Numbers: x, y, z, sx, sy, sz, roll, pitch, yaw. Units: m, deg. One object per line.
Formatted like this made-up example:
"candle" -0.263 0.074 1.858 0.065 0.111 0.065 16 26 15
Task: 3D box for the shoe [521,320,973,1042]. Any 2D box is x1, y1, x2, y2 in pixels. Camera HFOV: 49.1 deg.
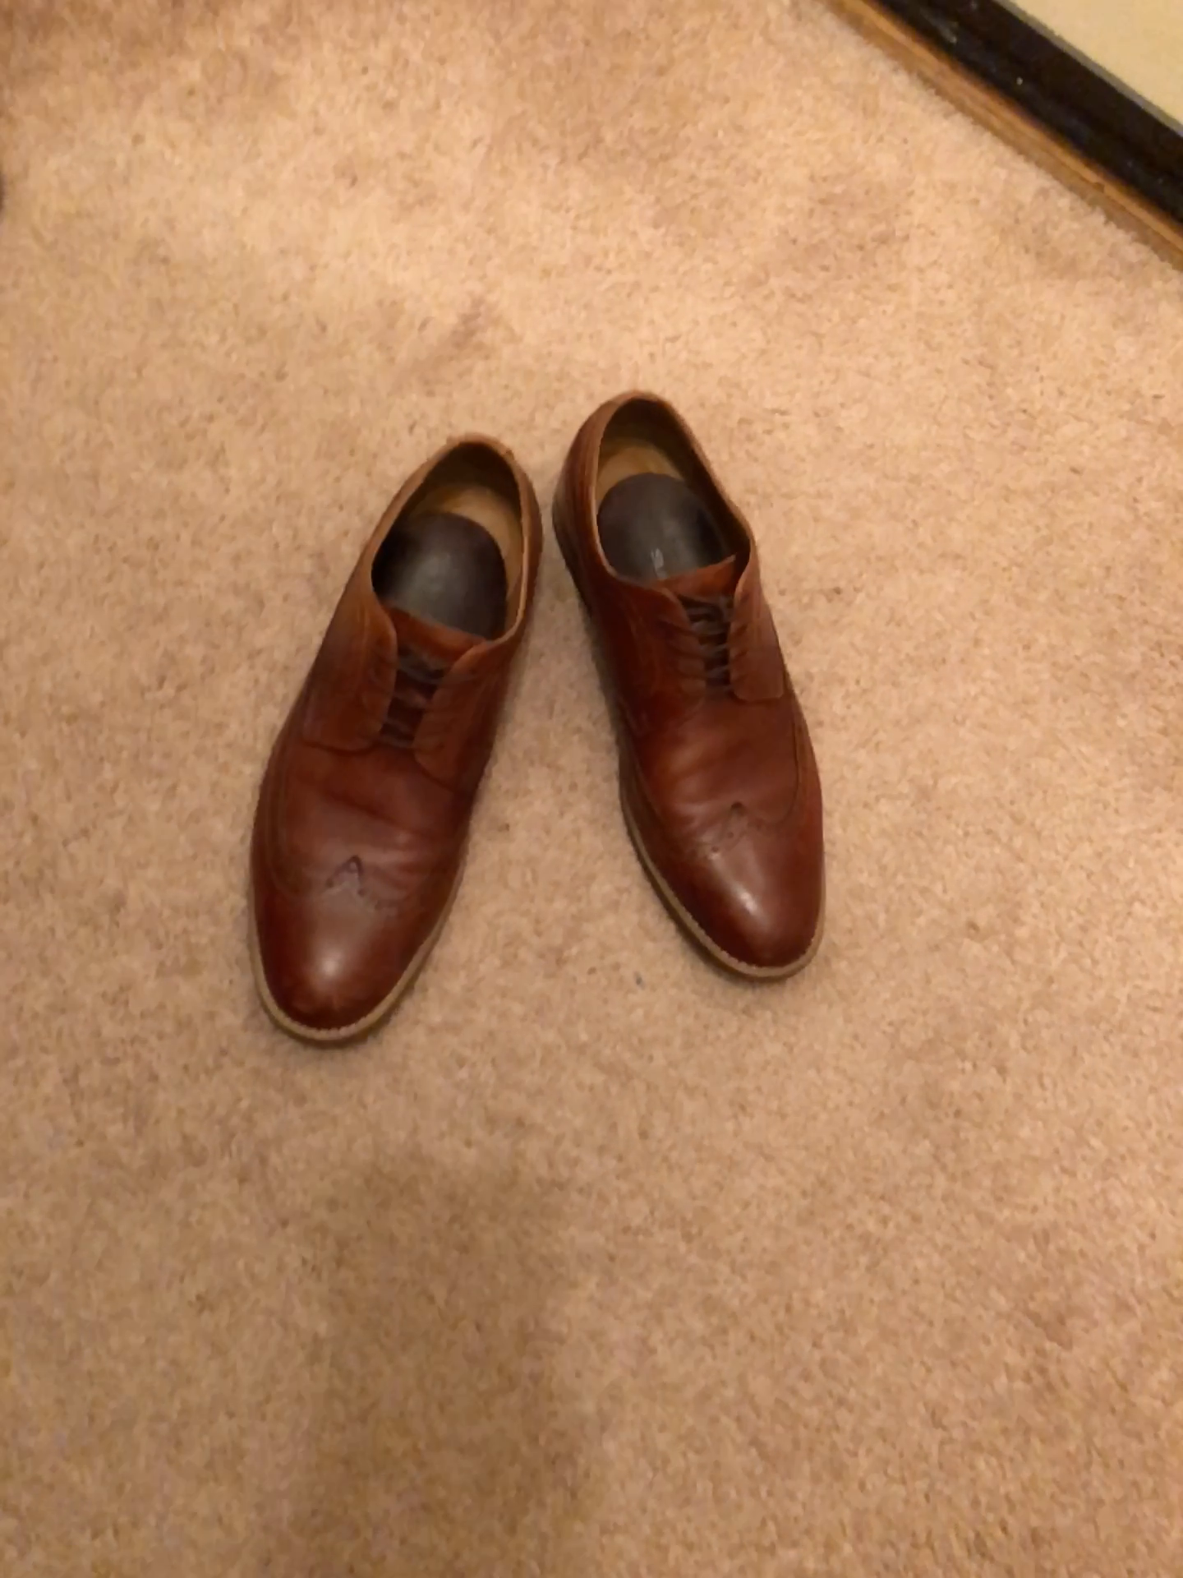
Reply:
"shoe" 0.060 -0.051 0.622 0.115 0.115 0.310 -11 75 -11

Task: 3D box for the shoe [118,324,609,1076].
"shoe" -0.094 -0.039 0.603 0.115 0.115 0.311 17 72 -2
